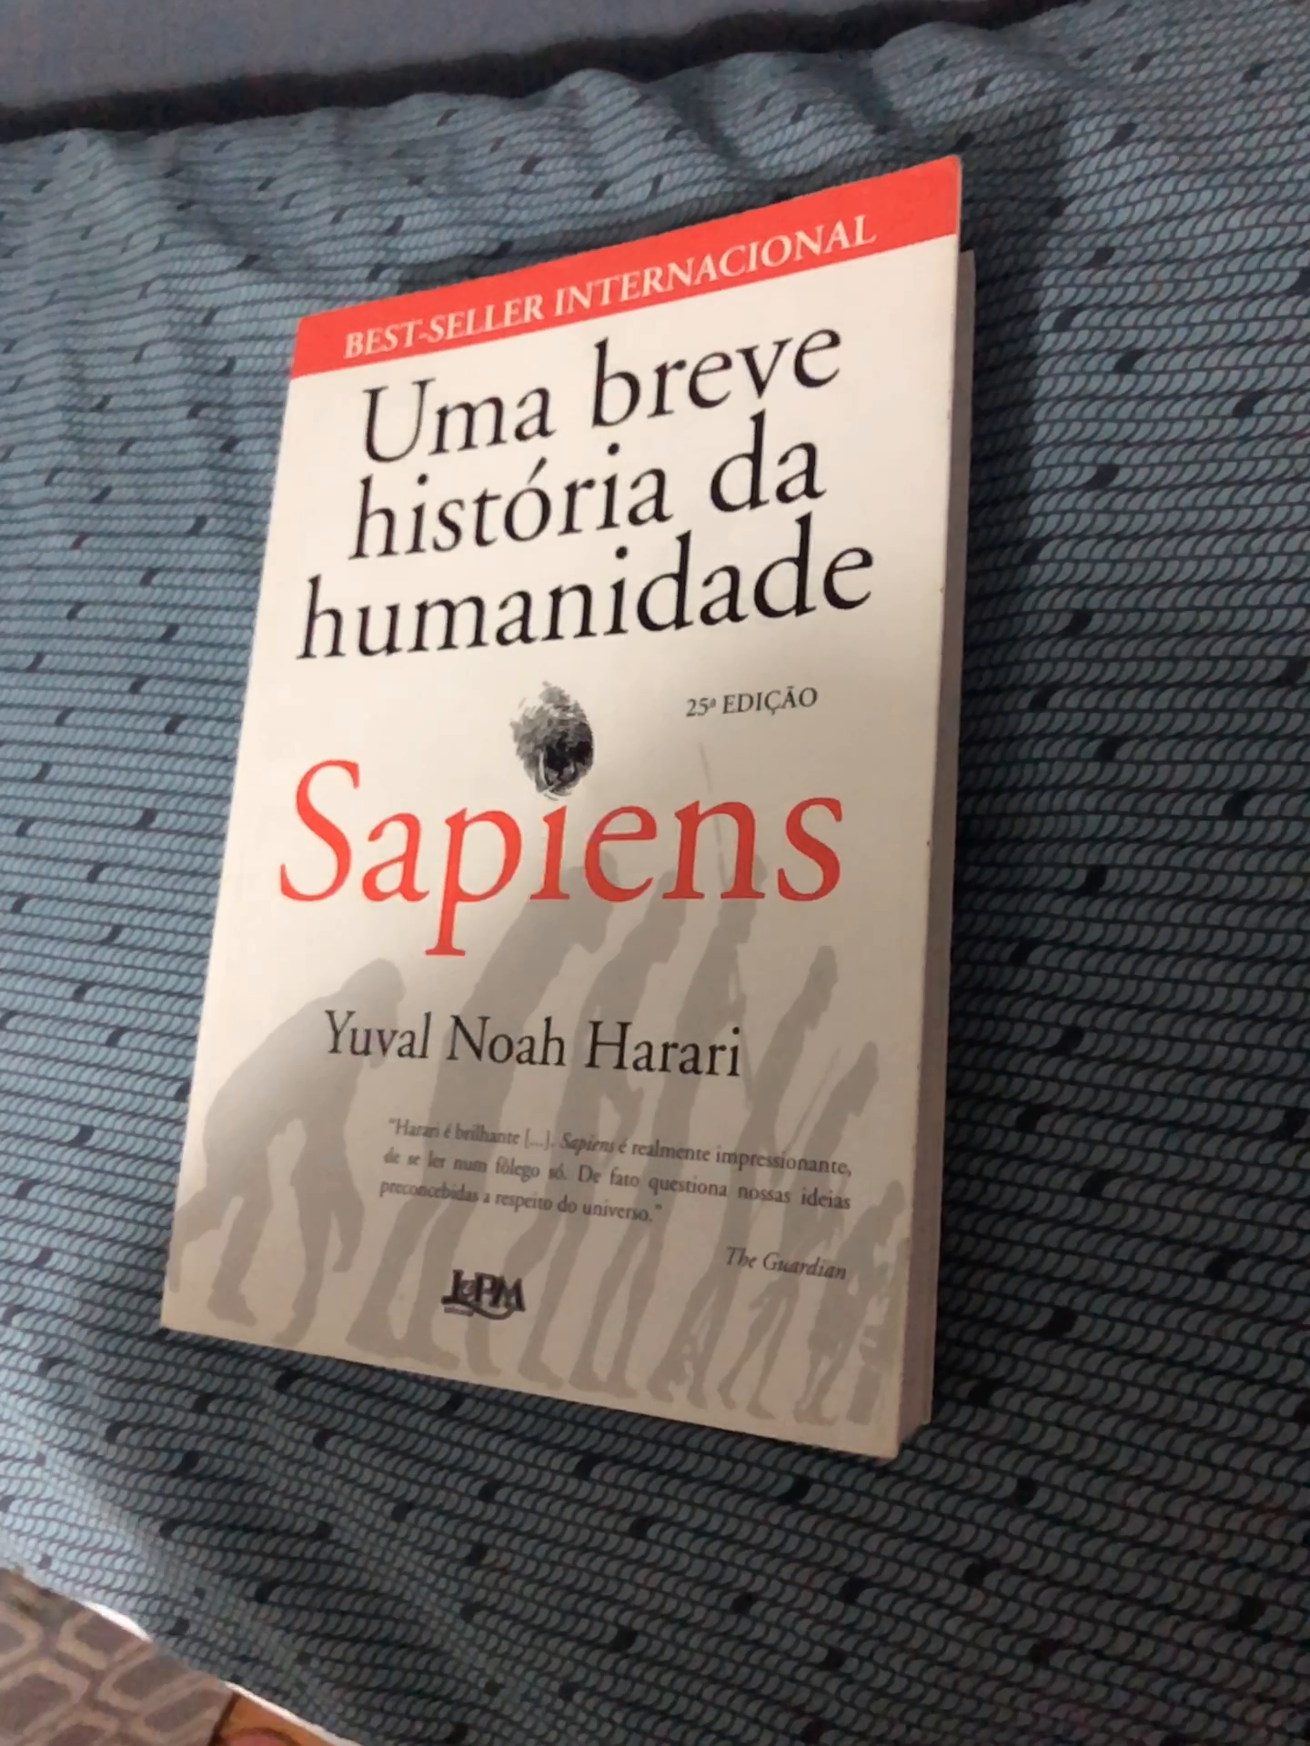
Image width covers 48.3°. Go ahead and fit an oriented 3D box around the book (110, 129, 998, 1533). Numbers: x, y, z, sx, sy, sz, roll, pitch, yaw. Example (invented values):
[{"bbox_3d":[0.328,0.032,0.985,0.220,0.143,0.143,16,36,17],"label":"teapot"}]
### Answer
[{"bbox_3d":[-0.019,-0.013,0.296,0.160,0.040,0.240,-1,78,26],"label":"book"}]
